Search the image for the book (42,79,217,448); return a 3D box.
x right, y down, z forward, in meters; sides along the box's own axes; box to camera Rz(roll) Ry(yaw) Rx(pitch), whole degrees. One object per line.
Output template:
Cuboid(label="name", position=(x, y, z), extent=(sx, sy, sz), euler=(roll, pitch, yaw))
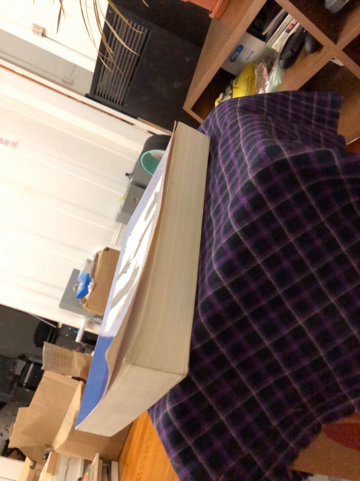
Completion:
Cuboid(label="book", position=(-0.041, 0.016, 0.347), extent=(0.200, 0.040, 0.261), euler=(126, 160, -46))
